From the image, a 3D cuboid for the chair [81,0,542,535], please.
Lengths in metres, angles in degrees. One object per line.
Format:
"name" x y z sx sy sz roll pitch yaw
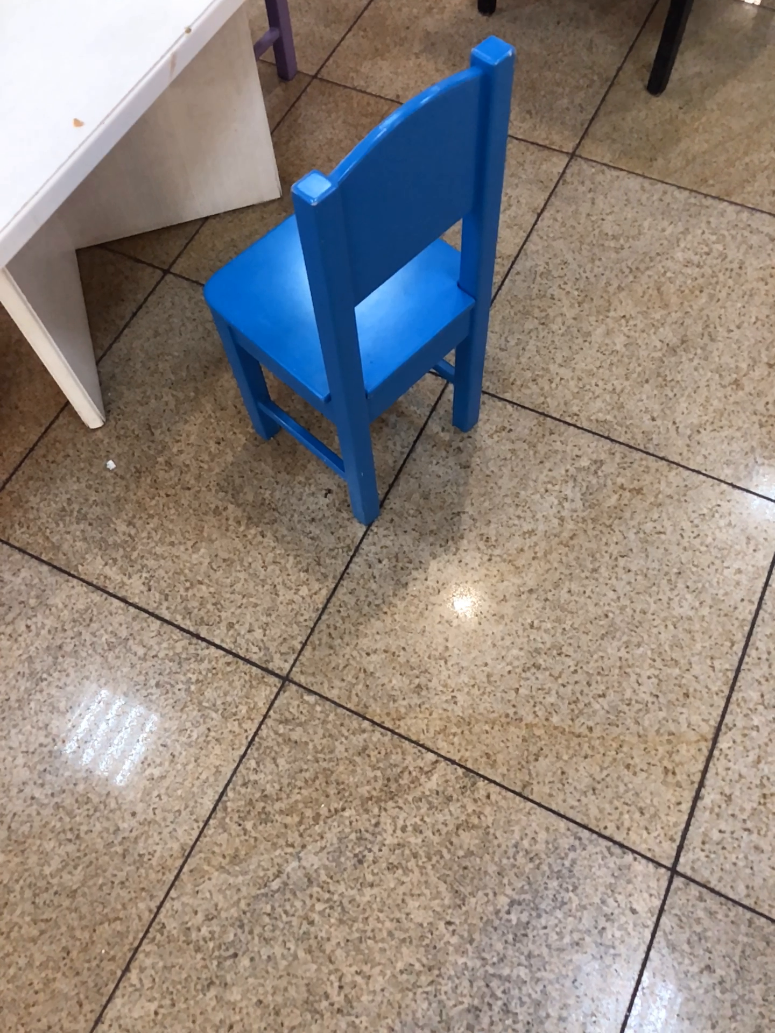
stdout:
"chair" -0.063 -0.310 1.094 0.330 0.649 0.290 41 72 19
